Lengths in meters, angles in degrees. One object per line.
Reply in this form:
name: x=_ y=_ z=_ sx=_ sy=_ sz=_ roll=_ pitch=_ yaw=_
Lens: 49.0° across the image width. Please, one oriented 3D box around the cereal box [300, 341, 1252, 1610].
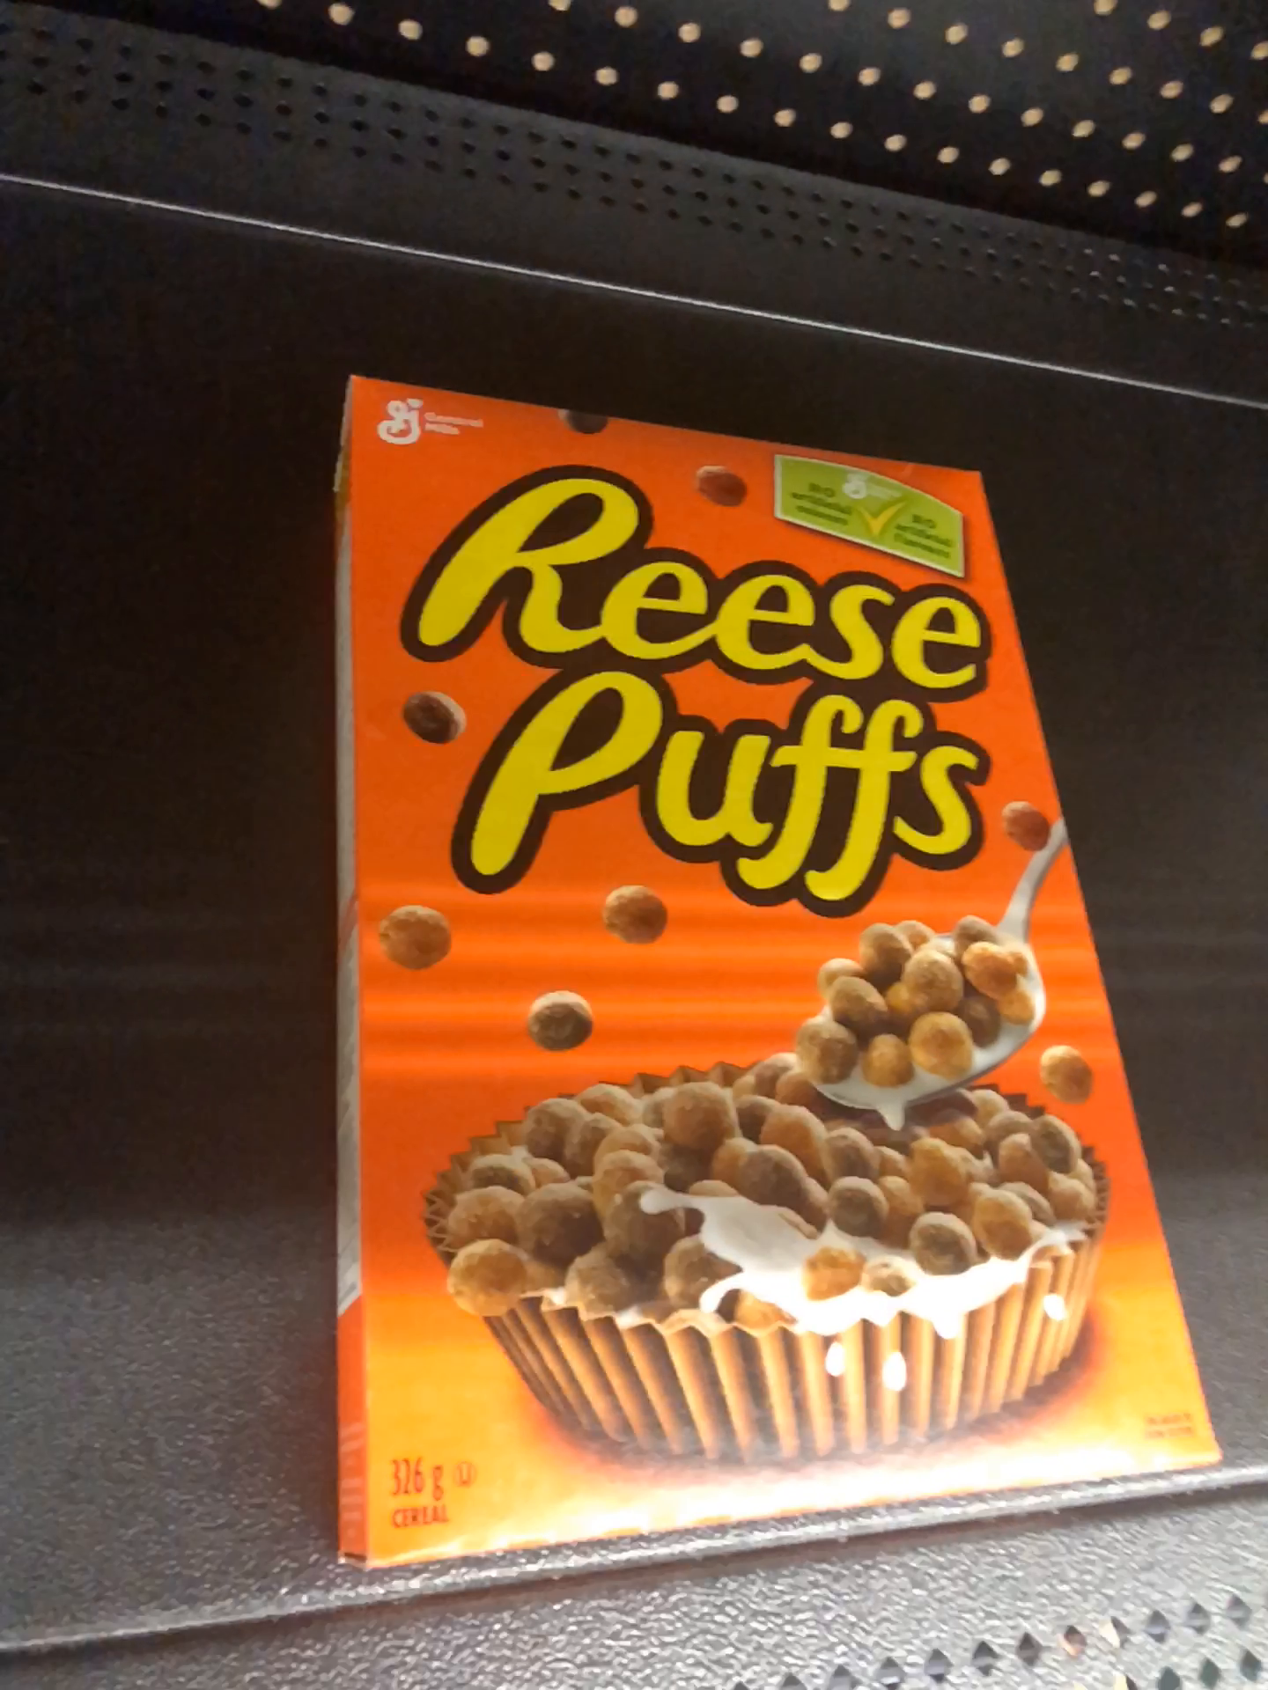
cereal box: x=0.021 y=0.016 z=0.356 sx=0.200 sy=0.050 sz=0.291 roll=3 pitch=65 yaw=-19
